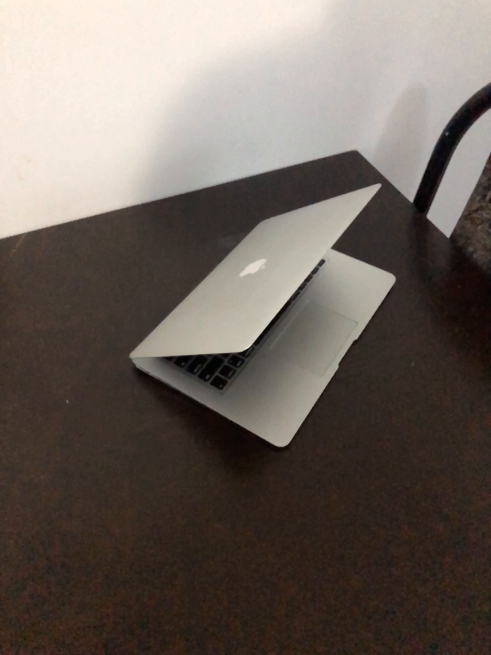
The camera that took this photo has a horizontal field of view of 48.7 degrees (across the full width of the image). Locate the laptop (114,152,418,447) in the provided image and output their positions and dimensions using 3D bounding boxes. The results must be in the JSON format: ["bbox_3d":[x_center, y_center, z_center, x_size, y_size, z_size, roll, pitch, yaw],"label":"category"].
[{"bbox_3d":[0.040,-0.060,0.694,0.226,0.131,0.332,25,53,21],"label":"laptop"}]
